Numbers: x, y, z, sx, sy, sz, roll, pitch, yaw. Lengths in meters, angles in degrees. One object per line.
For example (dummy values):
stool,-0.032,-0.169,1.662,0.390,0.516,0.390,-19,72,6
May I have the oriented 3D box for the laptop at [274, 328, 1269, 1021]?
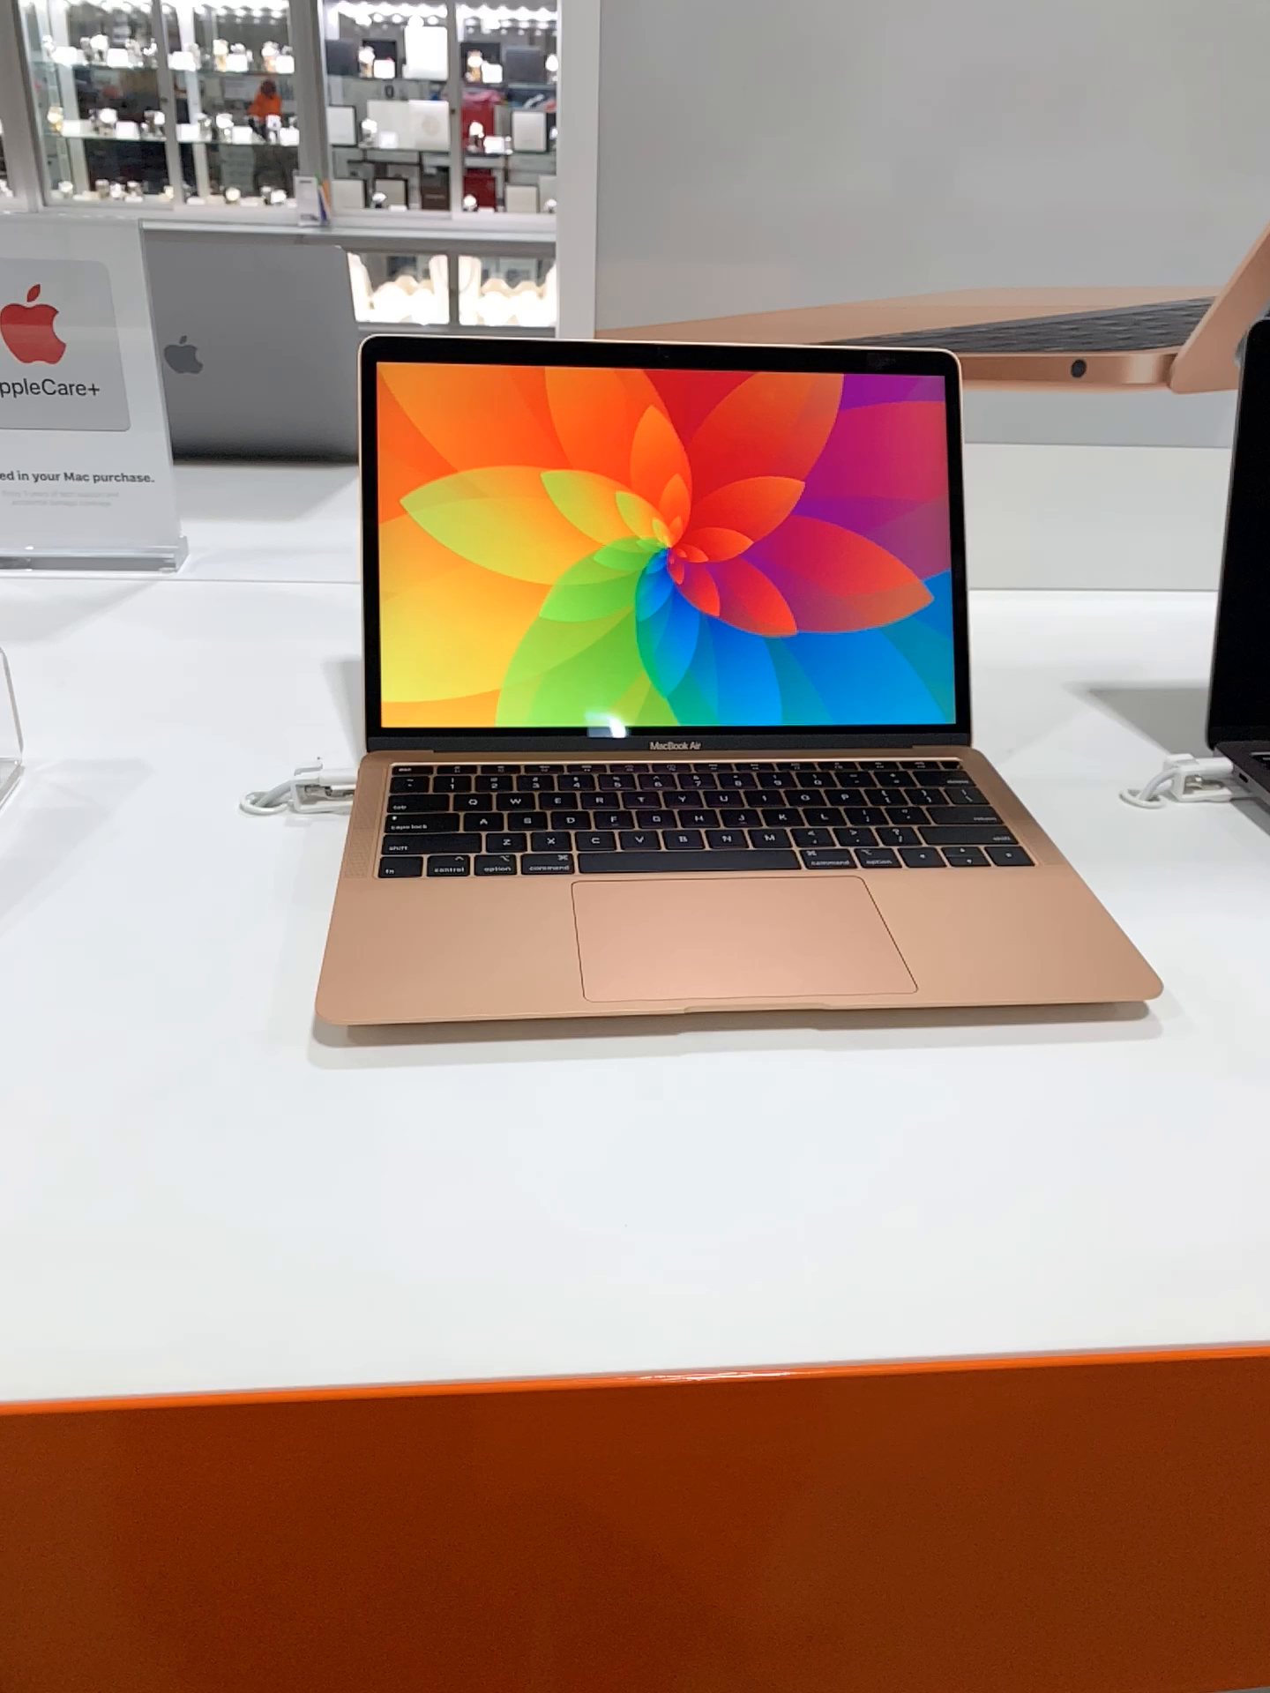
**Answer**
laptop,0.027,-0.097,0.547,0.293,0.170,0.310,-1,29,-7
